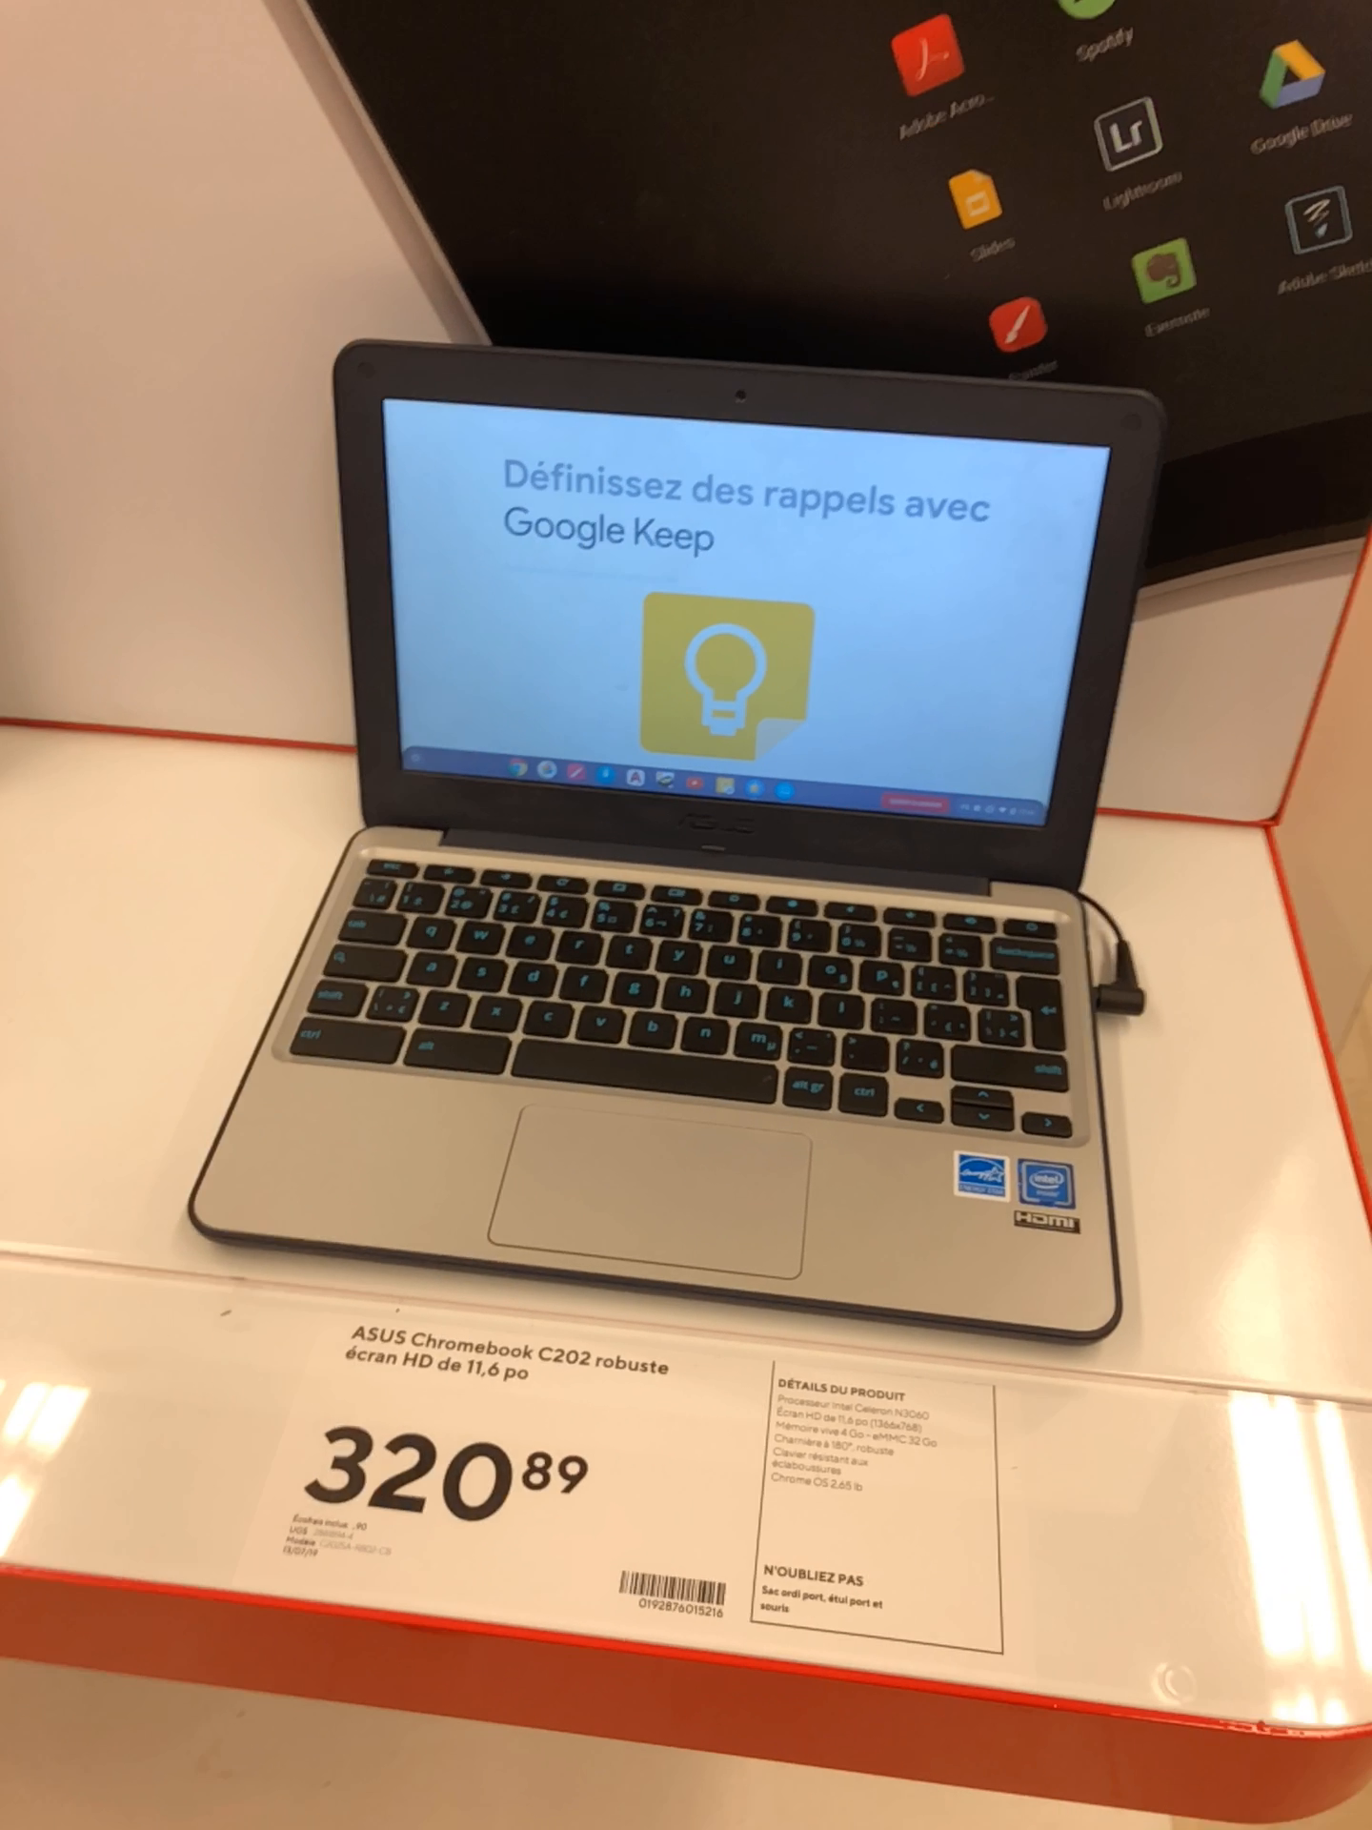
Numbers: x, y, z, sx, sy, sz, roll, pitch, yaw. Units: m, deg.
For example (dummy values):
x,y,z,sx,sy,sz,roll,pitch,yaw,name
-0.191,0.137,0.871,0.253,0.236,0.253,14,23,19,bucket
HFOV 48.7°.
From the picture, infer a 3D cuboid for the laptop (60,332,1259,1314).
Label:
x,y,z,sx,sy,sz,roll,pitch,yaw,name
0.004,-0.040,0.483,0.274,0.174,0.231,5,44,4,laptop
